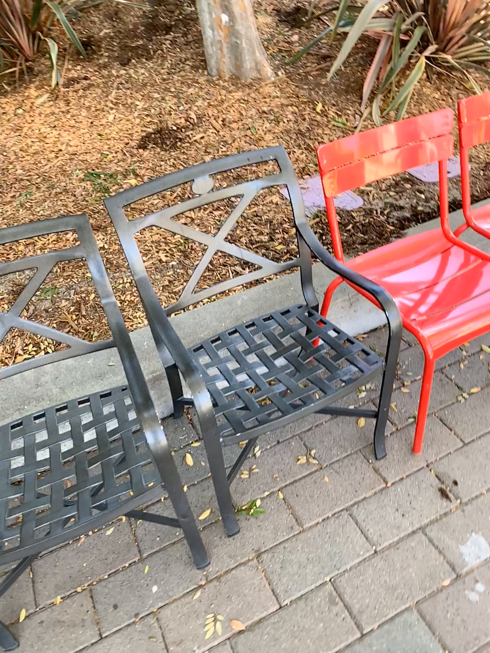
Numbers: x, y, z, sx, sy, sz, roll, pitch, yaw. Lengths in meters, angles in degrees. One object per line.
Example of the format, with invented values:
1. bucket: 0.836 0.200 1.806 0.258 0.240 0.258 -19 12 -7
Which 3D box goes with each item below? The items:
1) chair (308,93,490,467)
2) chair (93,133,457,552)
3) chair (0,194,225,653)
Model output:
1. chair: 0.642 -0.165 1.582 0.620 0.815 0.644 -21 42 -15
2. chair: 0.052 0.021 1.459 0.620 0.815 0.694 -21 42 -15
3. chair: -0.522 0.251 1.289 0.620 0.815 0.694 -21 42 -15
